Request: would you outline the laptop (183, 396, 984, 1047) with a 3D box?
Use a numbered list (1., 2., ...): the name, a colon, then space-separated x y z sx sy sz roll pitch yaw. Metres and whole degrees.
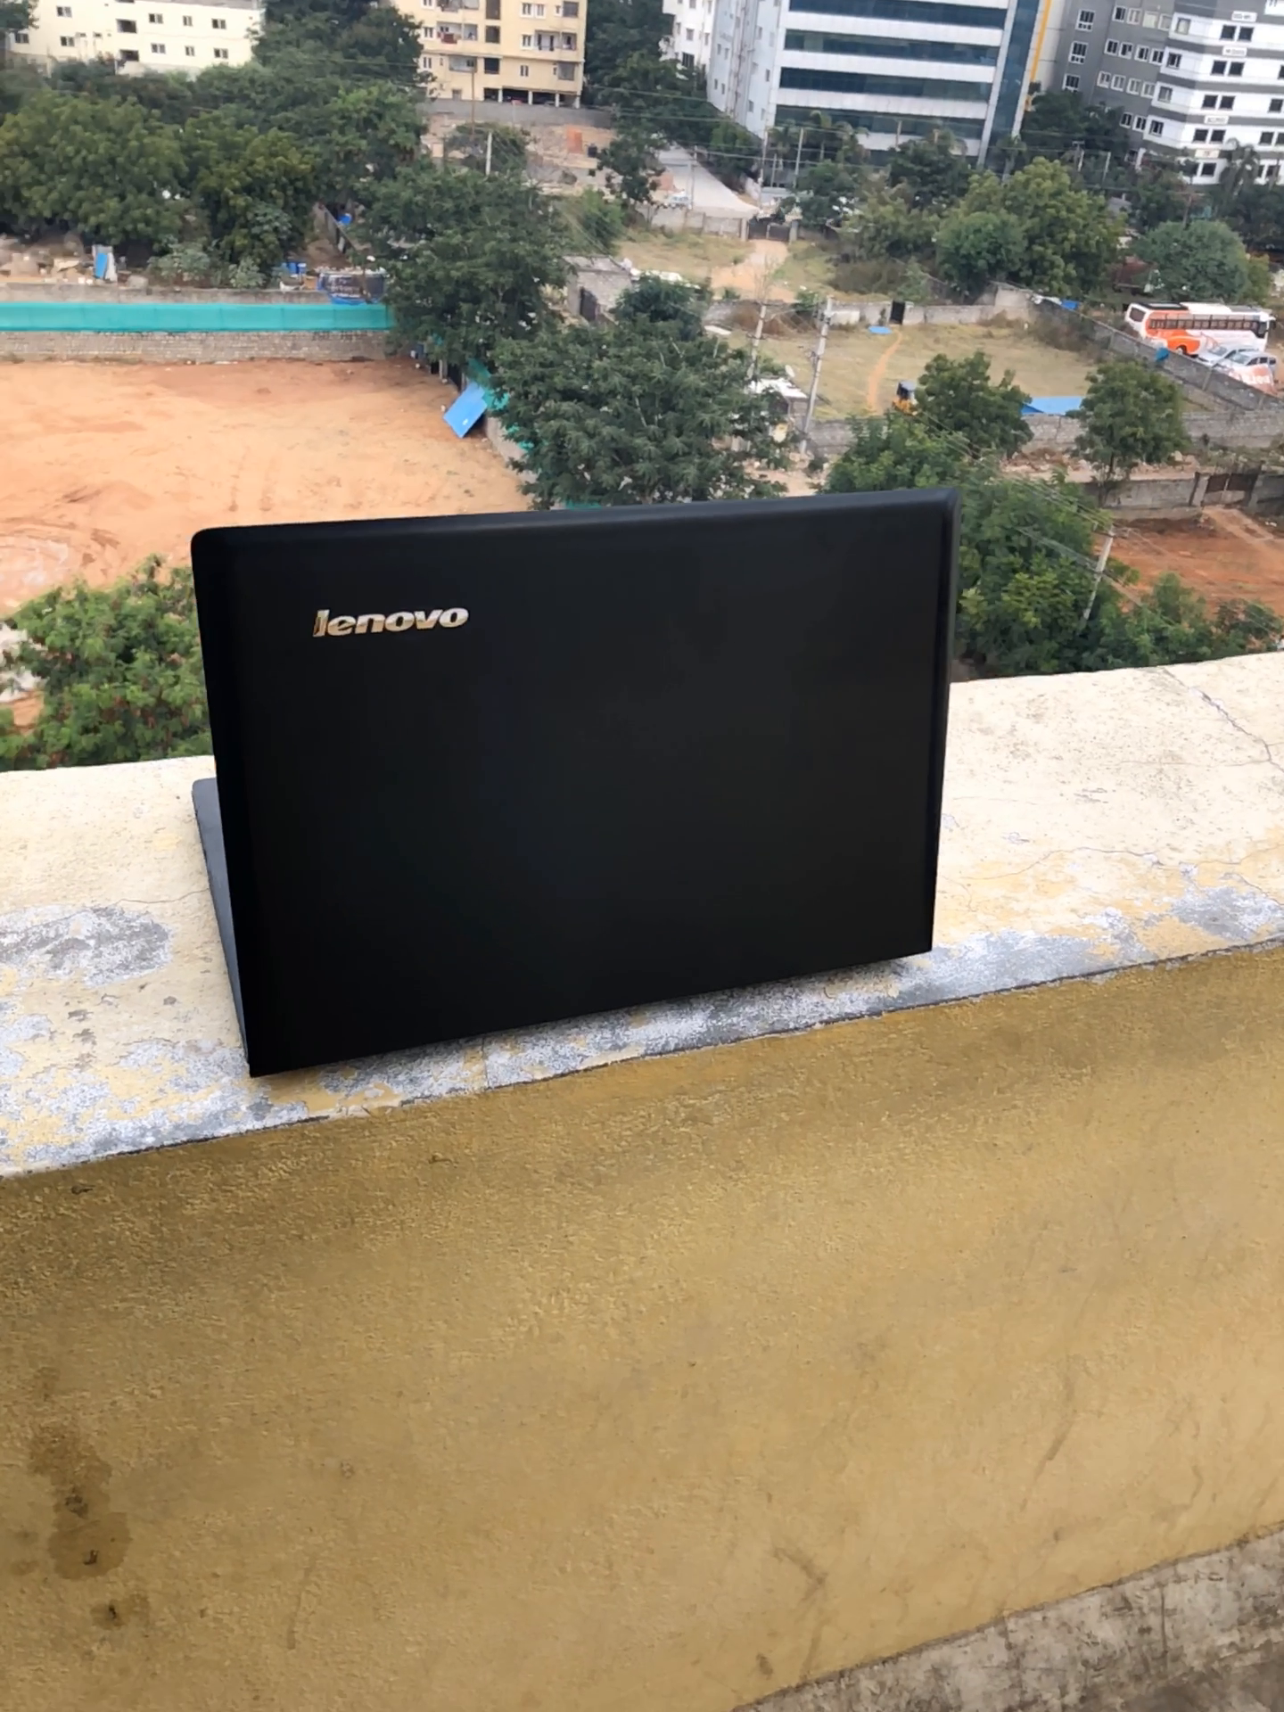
1. laptop: -0.051 -0.092 0.756 0.334 0.223 0.246 -9 36 -19
